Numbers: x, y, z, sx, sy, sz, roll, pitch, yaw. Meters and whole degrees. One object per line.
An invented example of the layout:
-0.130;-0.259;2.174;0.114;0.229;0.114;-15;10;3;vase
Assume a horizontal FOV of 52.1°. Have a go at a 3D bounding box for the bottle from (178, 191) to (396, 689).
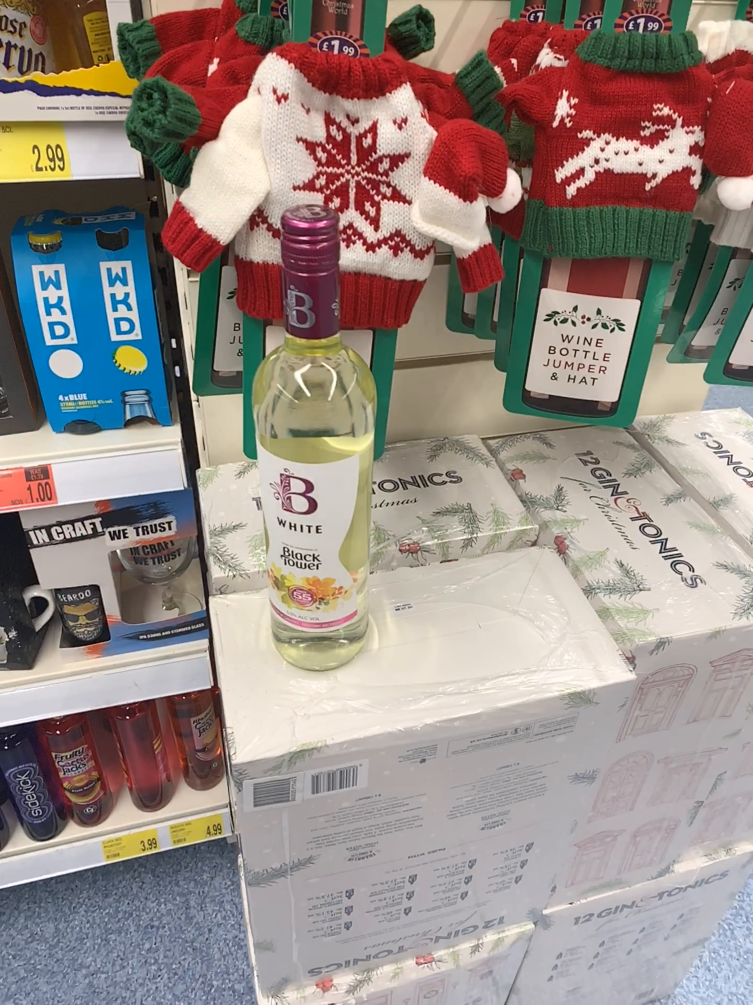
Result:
-0.046;-0.024;0.468;0.081;0.288;0.081;2;37;-1;bottle
